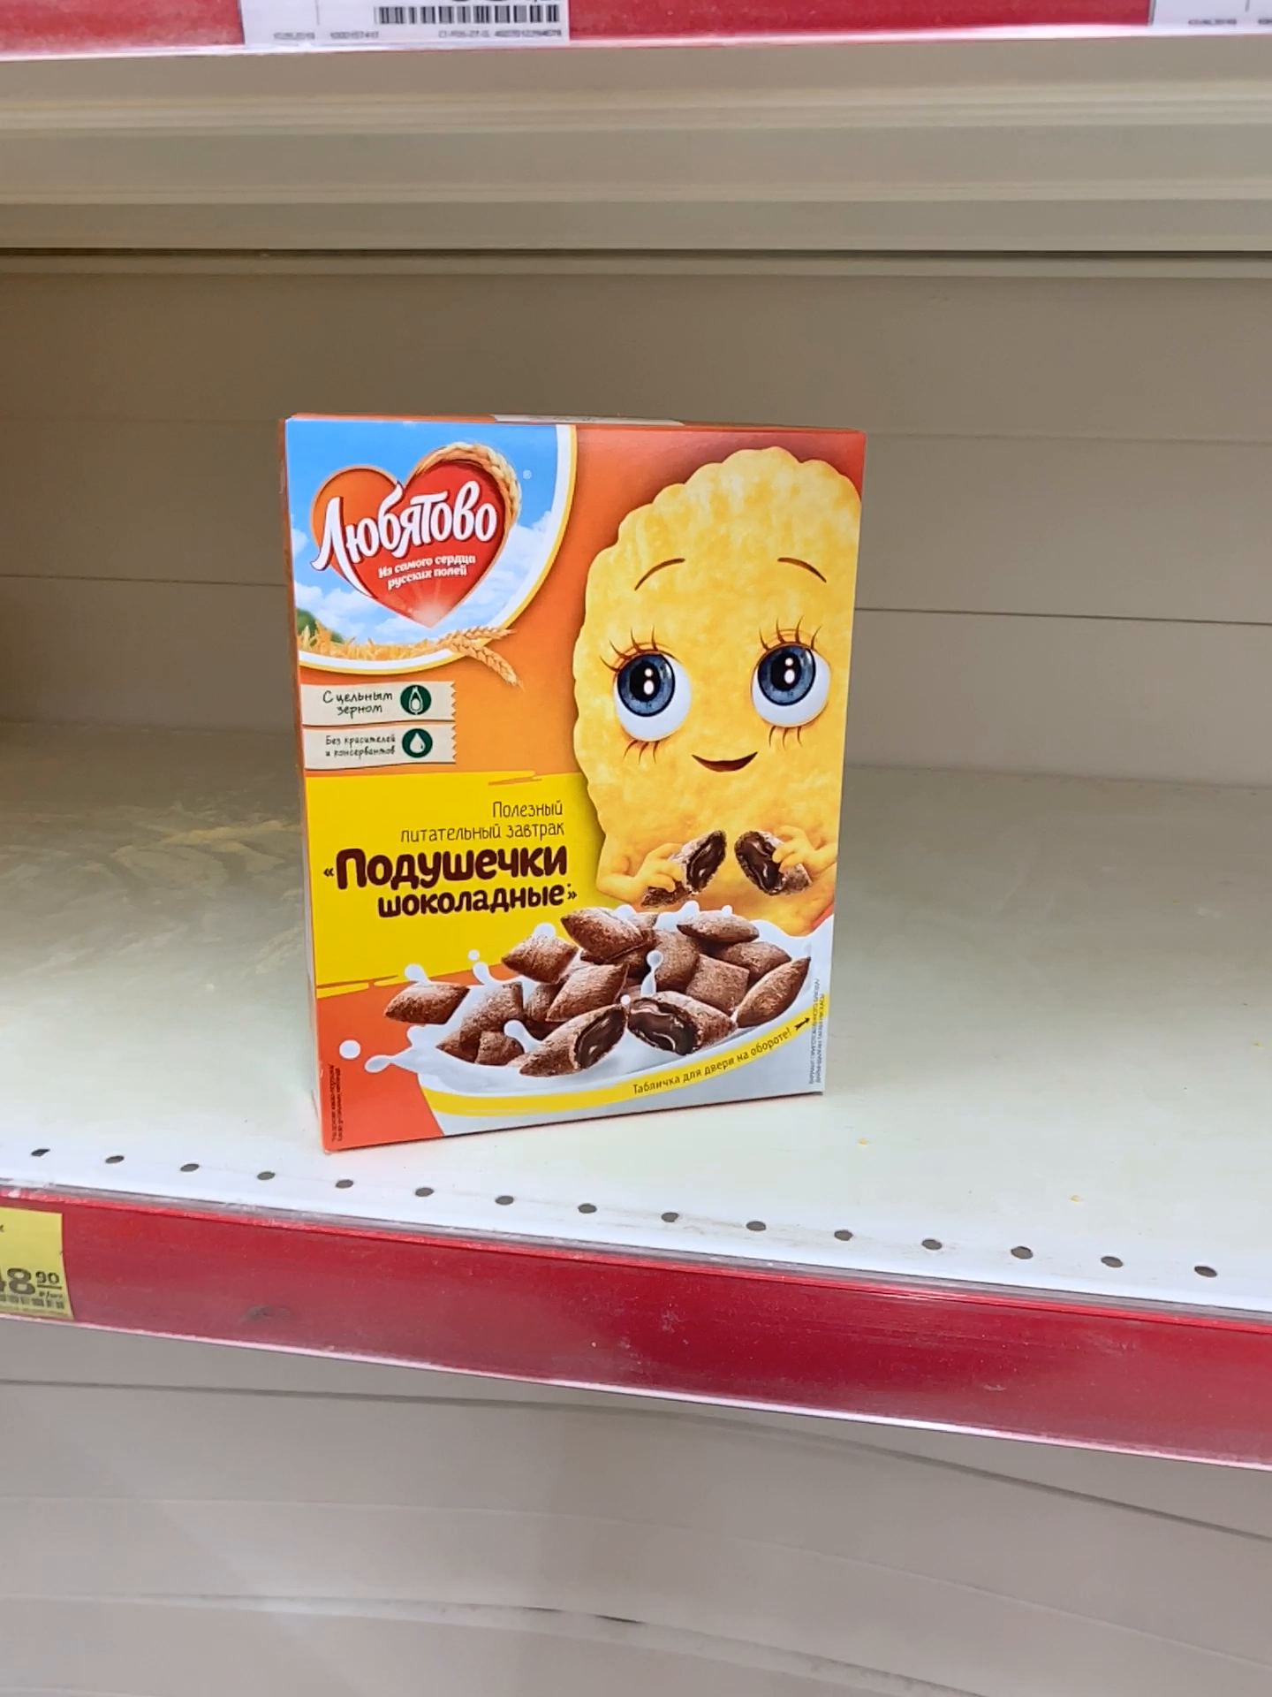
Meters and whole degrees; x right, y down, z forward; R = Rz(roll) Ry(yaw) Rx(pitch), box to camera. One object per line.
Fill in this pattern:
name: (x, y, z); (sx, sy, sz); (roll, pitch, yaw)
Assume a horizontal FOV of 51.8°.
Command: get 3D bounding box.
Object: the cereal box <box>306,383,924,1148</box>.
cereal box: (-0.008, -0.028, 0.429); (0.180, 0.229, 0.050); (-4, 17, -16)
